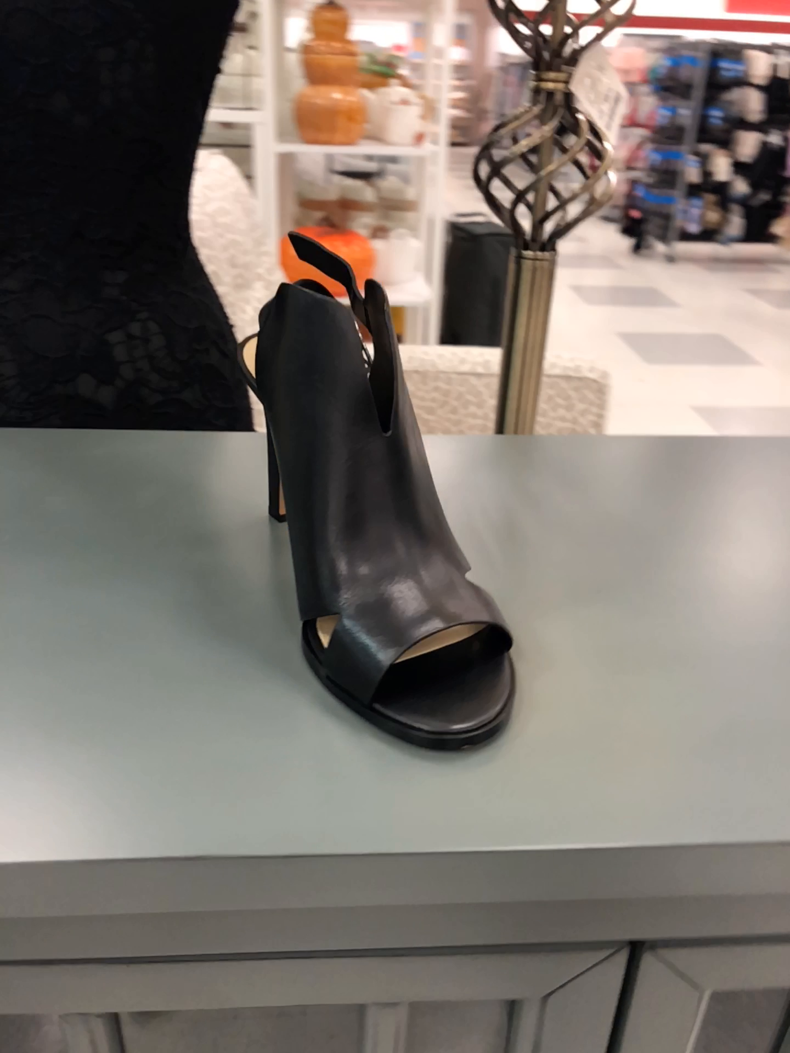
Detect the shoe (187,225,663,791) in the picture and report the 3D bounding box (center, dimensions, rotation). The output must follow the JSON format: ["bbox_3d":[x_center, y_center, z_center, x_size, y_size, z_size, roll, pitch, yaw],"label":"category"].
[{"bbox_3d":[-0.012,-0.035,0.379,0.095,0.150,0.237,-10,29,-22],"label":"shoe"}]
